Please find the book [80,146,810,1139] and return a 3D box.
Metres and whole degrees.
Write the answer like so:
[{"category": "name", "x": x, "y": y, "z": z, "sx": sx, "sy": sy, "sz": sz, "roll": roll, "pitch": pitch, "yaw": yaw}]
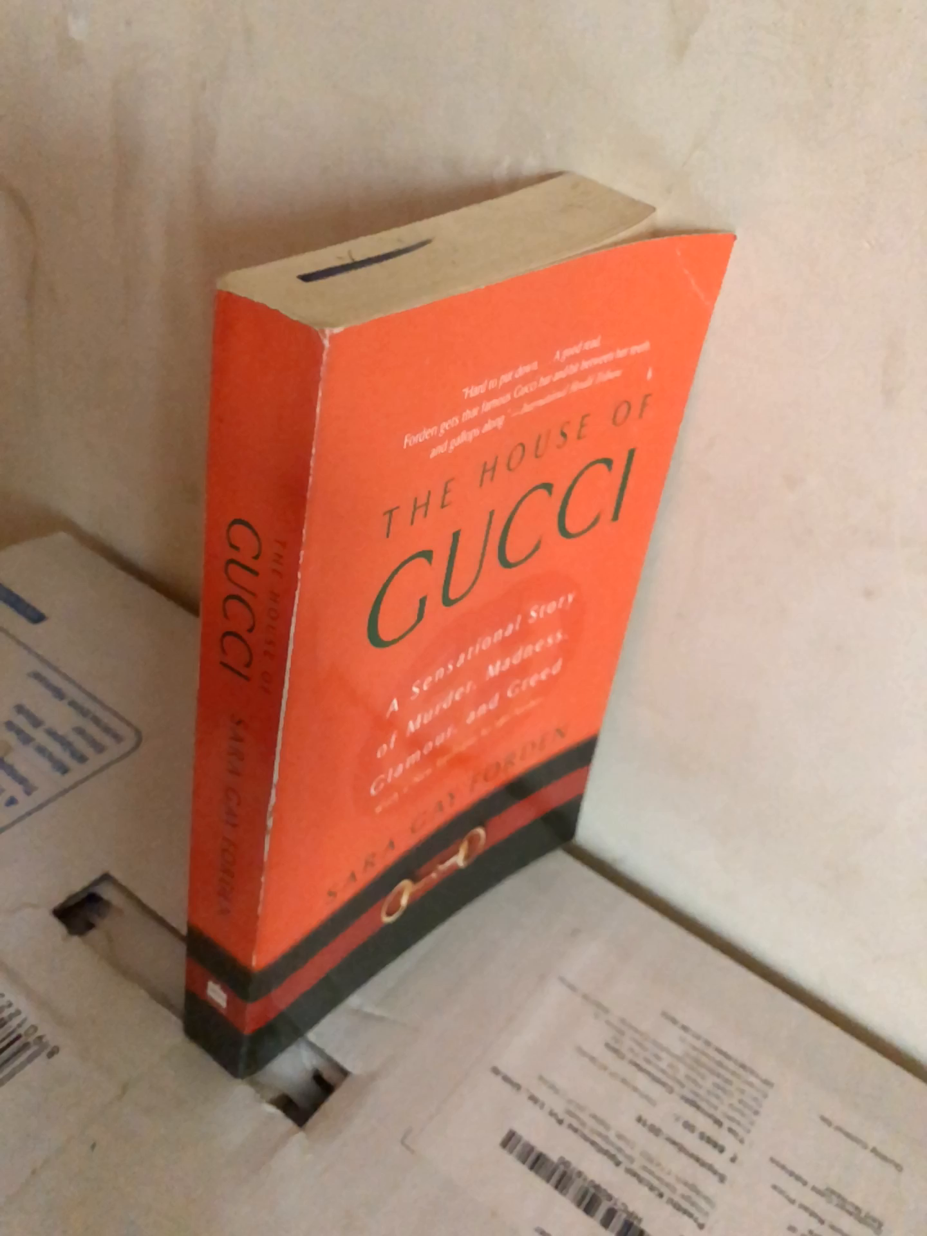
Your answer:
[{"category": "book", "x": -0.003, "y": 0.005, "z": 0.288, "sx": 0.040, "sy": 0.229, "sz": 0.191, "roll": 33, "pitch": 42, "yaw": 25}]
